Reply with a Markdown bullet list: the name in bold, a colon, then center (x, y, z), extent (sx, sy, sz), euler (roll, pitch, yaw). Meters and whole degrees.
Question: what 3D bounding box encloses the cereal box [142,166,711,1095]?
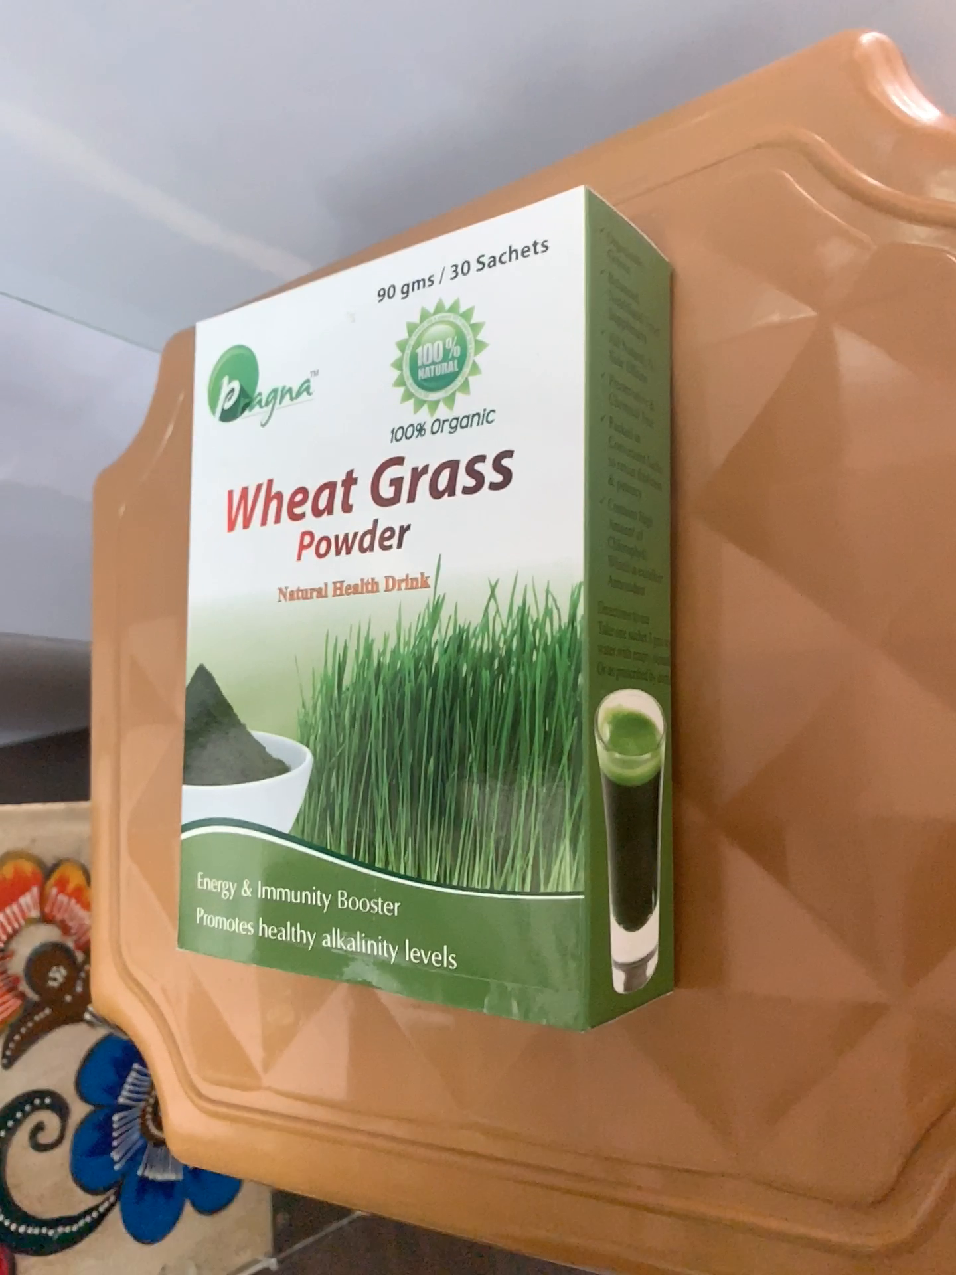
- **cereal box**: center (-0.017, 0.000, 0.239), extent (0.131, 0.050, 0.170), euler (-3, 84, 36)
